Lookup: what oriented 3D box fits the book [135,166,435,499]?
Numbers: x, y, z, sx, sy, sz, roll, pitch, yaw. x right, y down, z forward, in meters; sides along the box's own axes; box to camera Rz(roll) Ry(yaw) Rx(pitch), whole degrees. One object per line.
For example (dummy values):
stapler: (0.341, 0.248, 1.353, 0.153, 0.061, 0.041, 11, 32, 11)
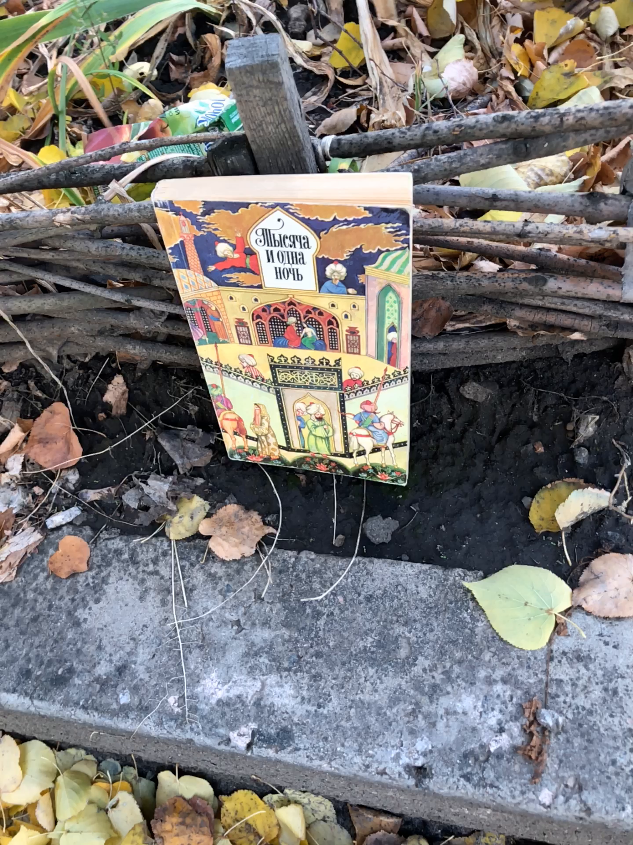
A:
book: (-0.004, -0.038, 0.359, 0.123, 0.182, 0.029, 8, 49, 18)
